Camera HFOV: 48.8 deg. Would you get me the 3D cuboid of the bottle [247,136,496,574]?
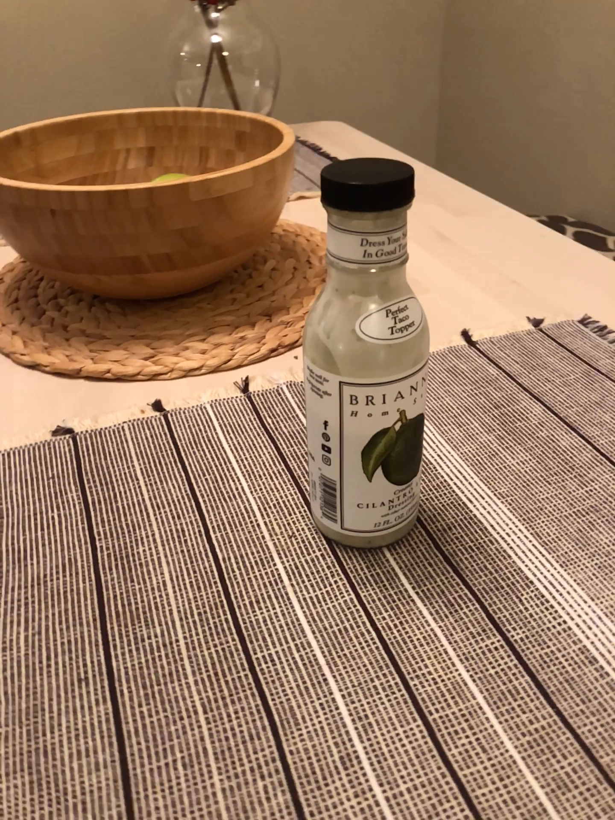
[{"bbox_3d":[0.028,-0.023,0.329,0.075,0.186,0.070,-1,34,1],"label":"bottle"}]
